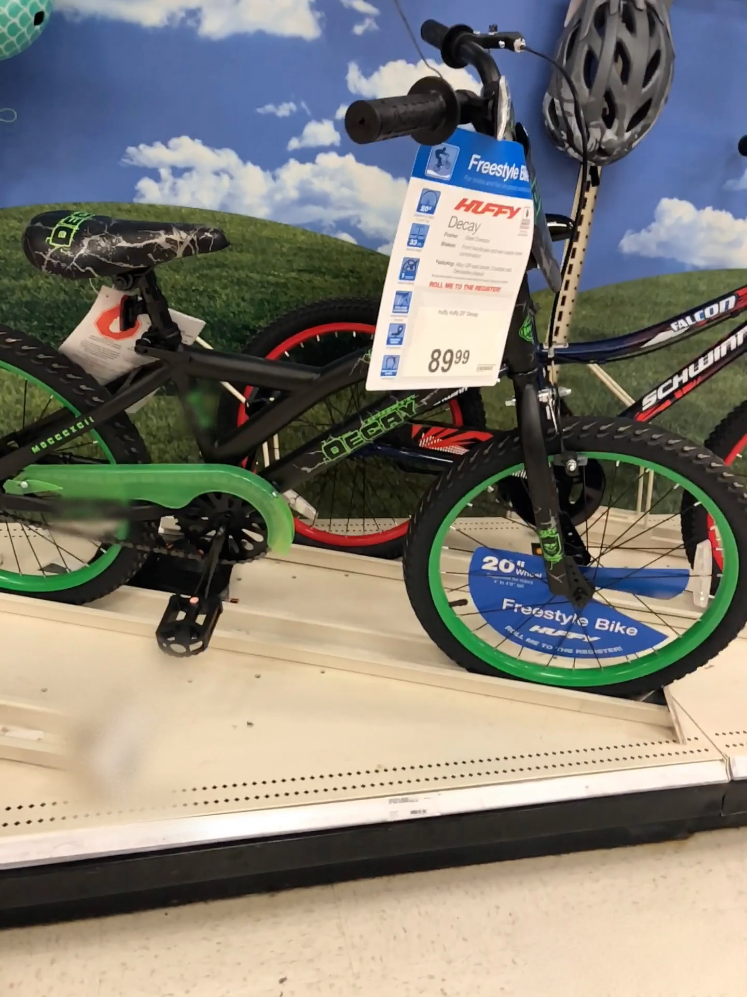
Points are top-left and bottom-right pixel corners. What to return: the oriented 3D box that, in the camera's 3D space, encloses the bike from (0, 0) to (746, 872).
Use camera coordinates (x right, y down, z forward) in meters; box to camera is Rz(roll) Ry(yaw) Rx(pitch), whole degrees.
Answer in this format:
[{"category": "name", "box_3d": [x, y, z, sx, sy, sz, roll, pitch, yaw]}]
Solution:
[{"category": "bike", "box_3d": [-0.094, -0.173, 1.092, 1.361, 0.879, 0.631, 8, 25, 3]}]
